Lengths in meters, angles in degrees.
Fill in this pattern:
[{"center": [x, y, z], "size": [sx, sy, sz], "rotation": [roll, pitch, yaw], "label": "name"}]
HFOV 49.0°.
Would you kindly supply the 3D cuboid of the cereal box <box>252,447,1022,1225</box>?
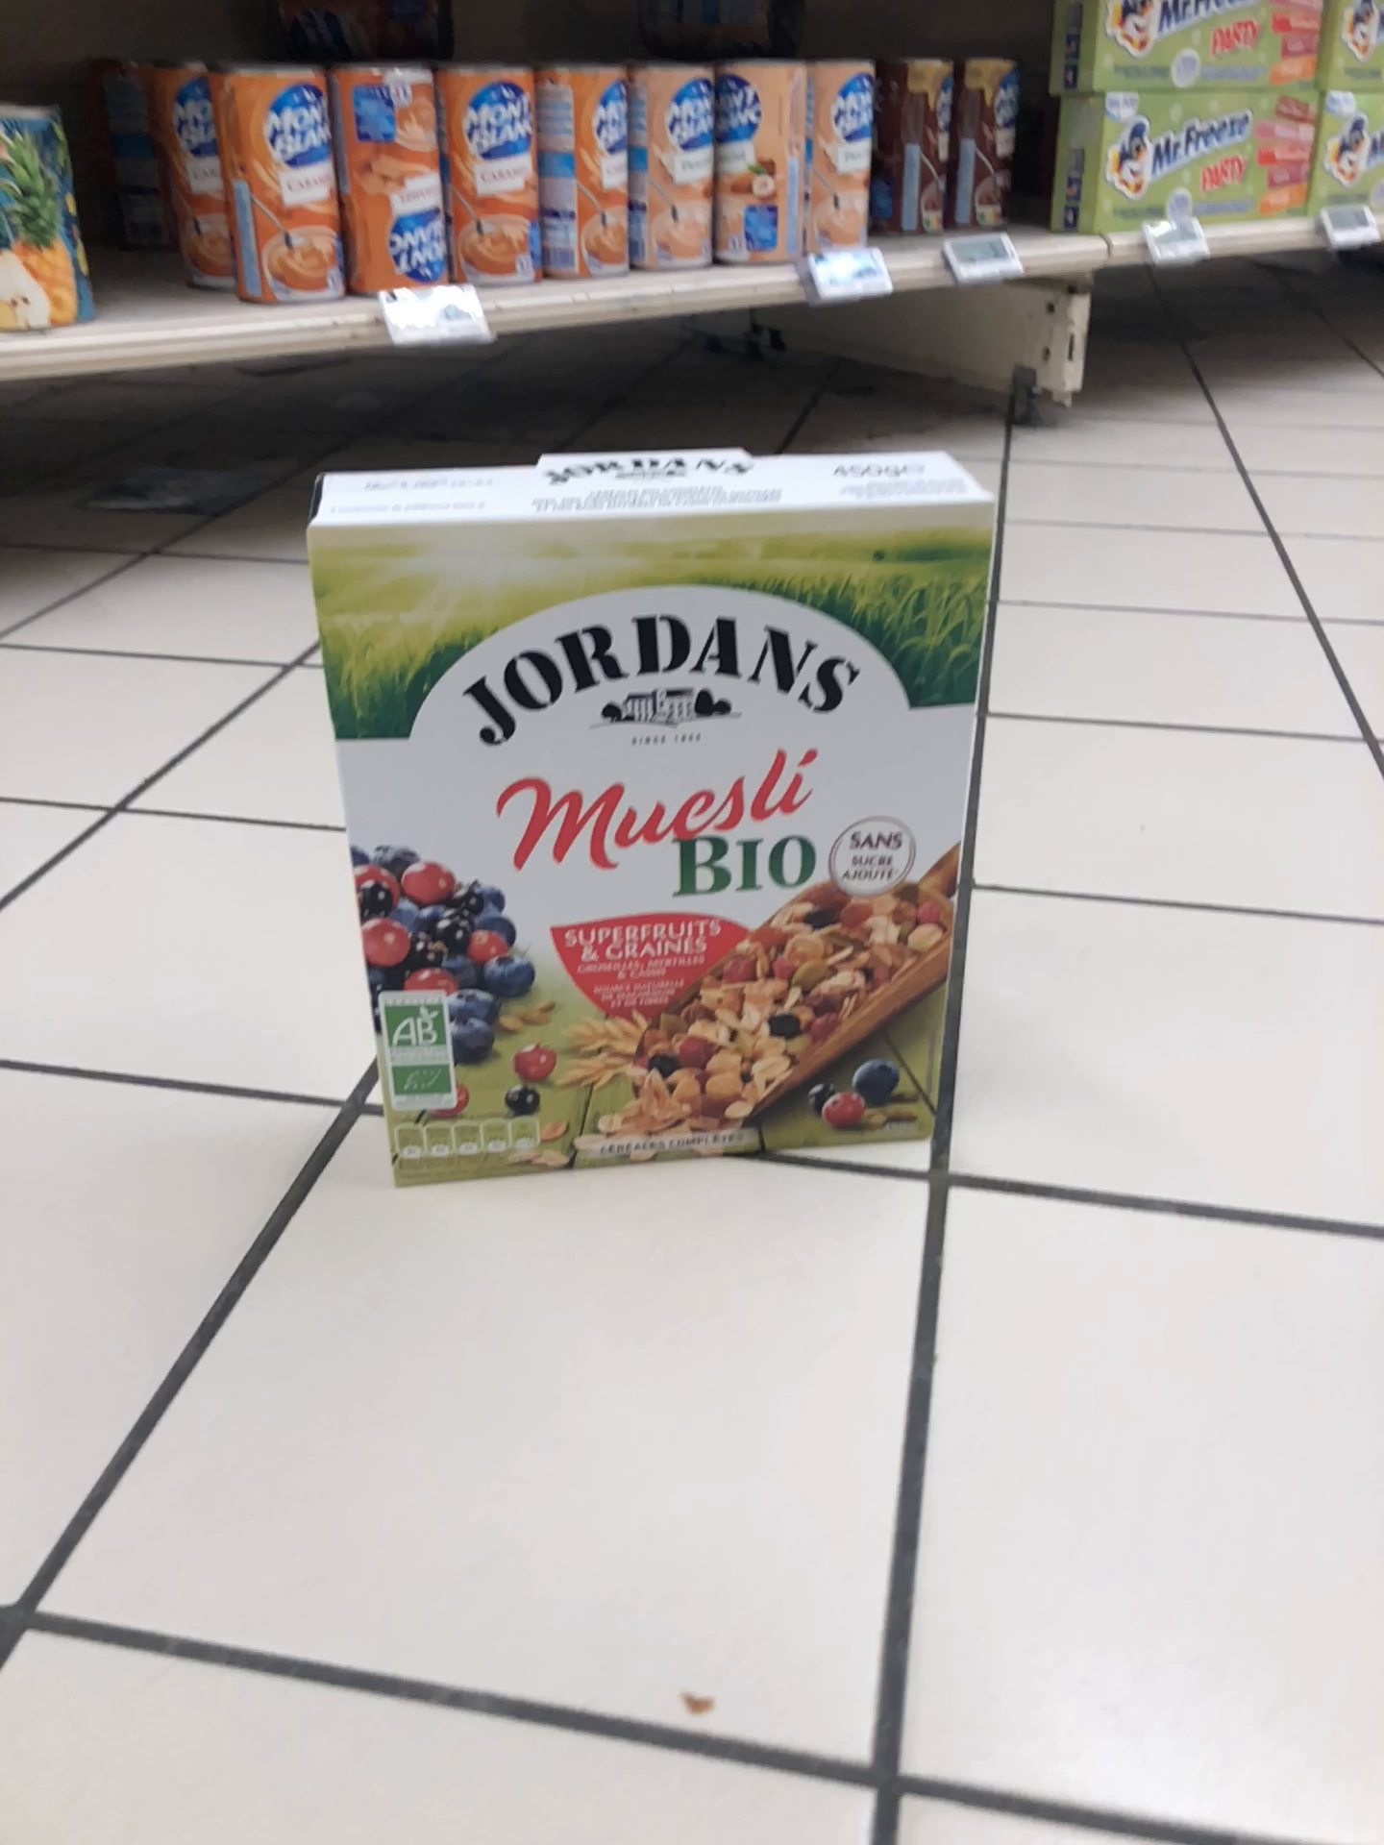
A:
[{"center": [-0.015, -0.021, 0.455], "size": [0.190, 0.219, 0.060], "rotation": [-4, 32, -7], "label": "cereal box"}]
